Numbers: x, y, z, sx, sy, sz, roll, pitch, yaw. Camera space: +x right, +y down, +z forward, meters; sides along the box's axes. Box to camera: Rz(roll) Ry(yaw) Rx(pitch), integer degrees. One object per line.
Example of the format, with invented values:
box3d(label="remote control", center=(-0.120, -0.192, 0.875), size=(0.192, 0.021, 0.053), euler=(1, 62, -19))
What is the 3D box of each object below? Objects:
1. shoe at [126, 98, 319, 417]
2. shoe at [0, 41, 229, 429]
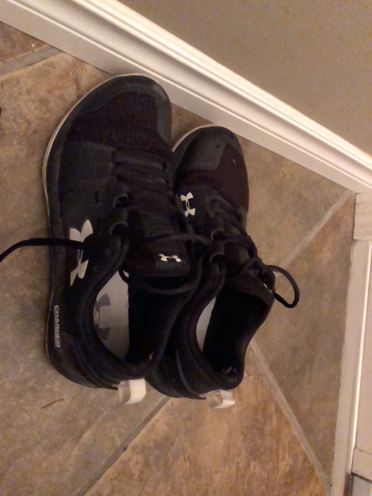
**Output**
box3d(label="shoe", center=(0.037, 0.012, 0.389), size=(0.110, 0.100, 0.250), euler=(14, 81, -37))
box3d(label="shoe", center=(-0.056, -0.005, 0.330), size=(0.110, 0.100, 0.250), euler=(14, 81, -37))
